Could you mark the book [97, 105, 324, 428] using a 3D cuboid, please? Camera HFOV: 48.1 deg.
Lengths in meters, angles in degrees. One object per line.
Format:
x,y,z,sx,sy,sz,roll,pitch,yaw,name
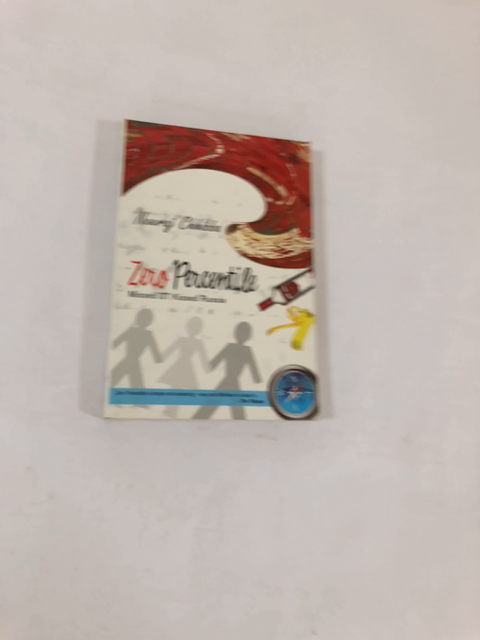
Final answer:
-0.015,-0.035,0.345,0.132,0.021,0.200,4,75,-12,book
